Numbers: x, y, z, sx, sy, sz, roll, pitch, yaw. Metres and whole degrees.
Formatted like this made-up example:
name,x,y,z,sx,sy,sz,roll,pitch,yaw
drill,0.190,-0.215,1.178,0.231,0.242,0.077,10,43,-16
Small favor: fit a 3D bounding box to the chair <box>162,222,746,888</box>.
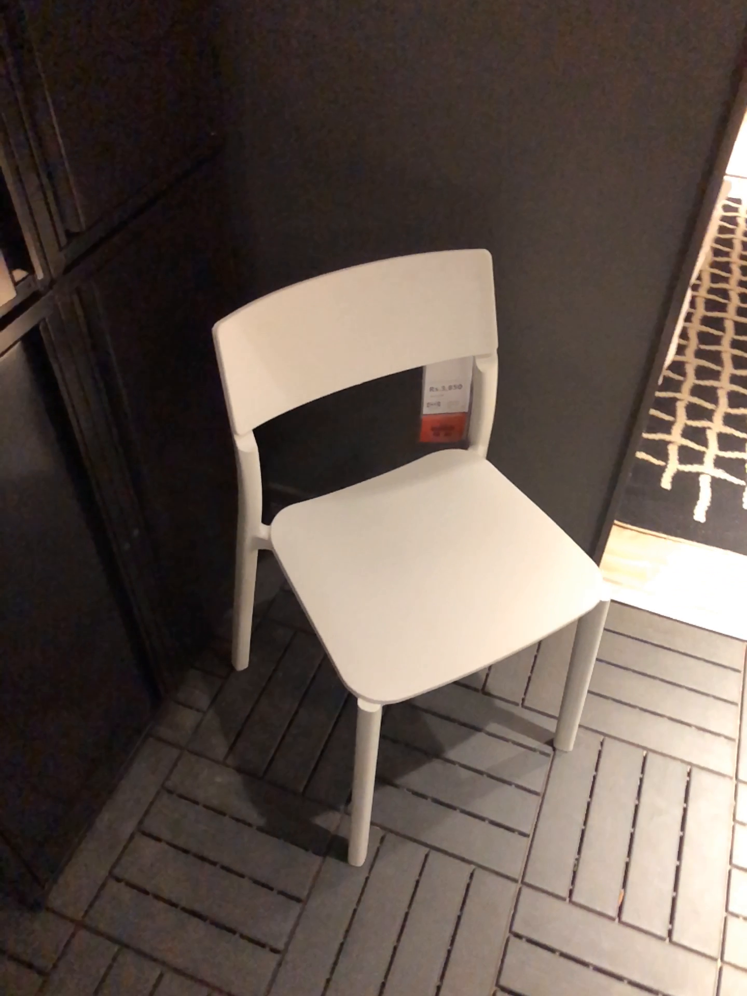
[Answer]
name,x,y,z,sx,sy,sz,roll,pitch,yaw
chair,0.071,0.090,1.175,0.501,0.705,0.472,-20,49,-20
